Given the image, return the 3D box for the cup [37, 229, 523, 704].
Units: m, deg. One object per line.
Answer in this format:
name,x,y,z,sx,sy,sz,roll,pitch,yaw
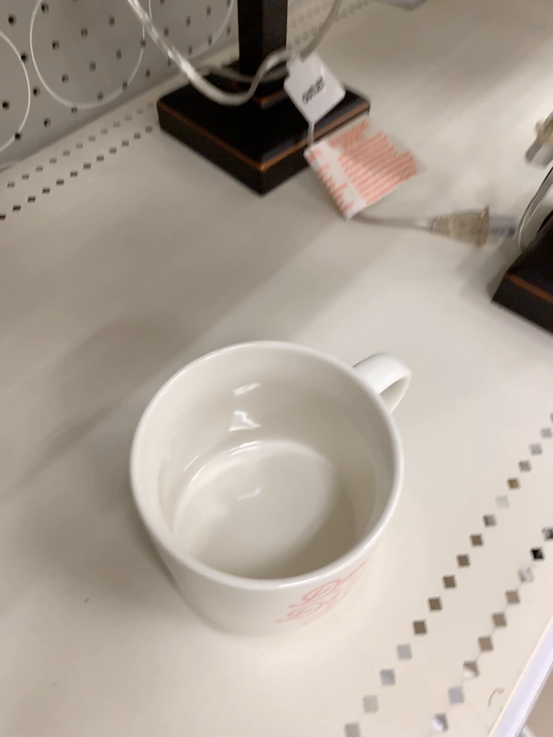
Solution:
cup,0.006,0.036,0.243,0.100,0.090,0.150,38,63,21
